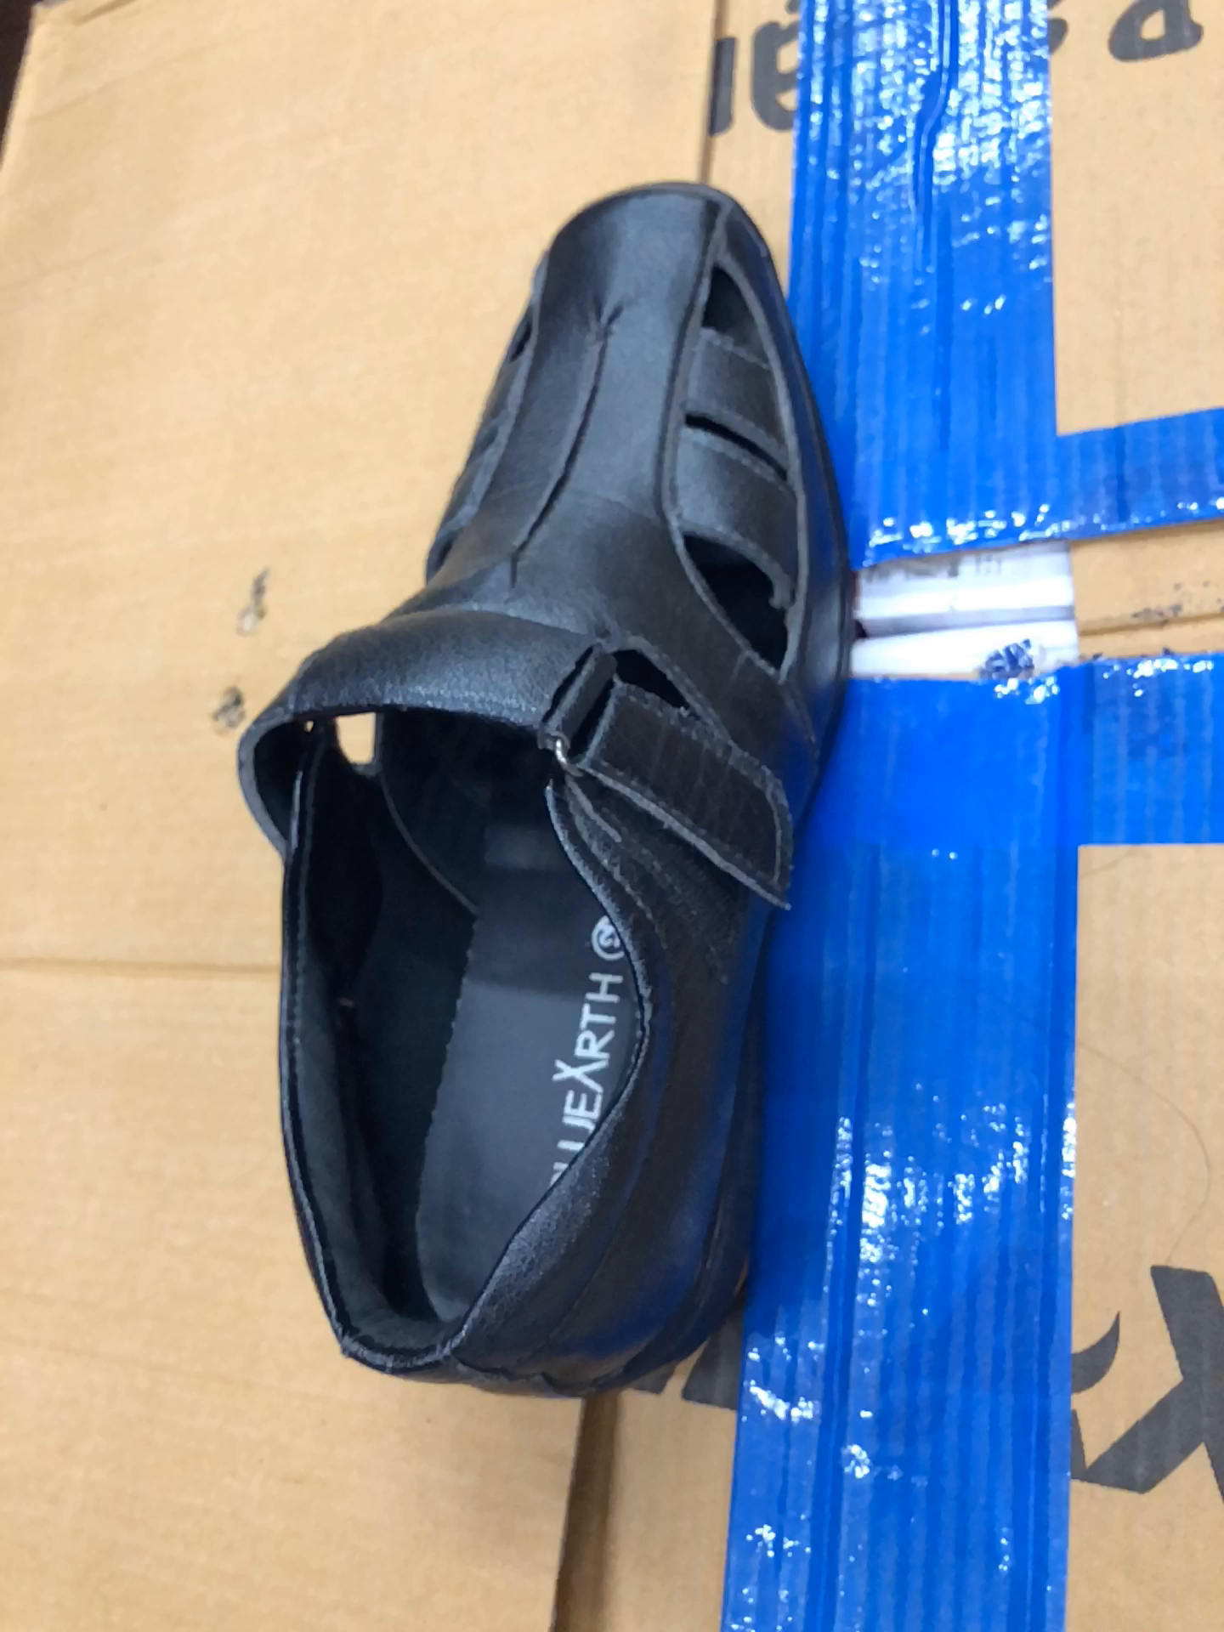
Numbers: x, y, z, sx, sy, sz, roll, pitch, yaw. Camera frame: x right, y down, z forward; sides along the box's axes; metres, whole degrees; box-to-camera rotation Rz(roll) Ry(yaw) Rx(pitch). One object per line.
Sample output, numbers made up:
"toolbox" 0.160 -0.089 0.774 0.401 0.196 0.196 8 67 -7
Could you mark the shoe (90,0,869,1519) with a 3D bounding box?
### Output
"shoe" -0.010 -0.034 0.291 0.101 0.097 0.304 -4 72 25
